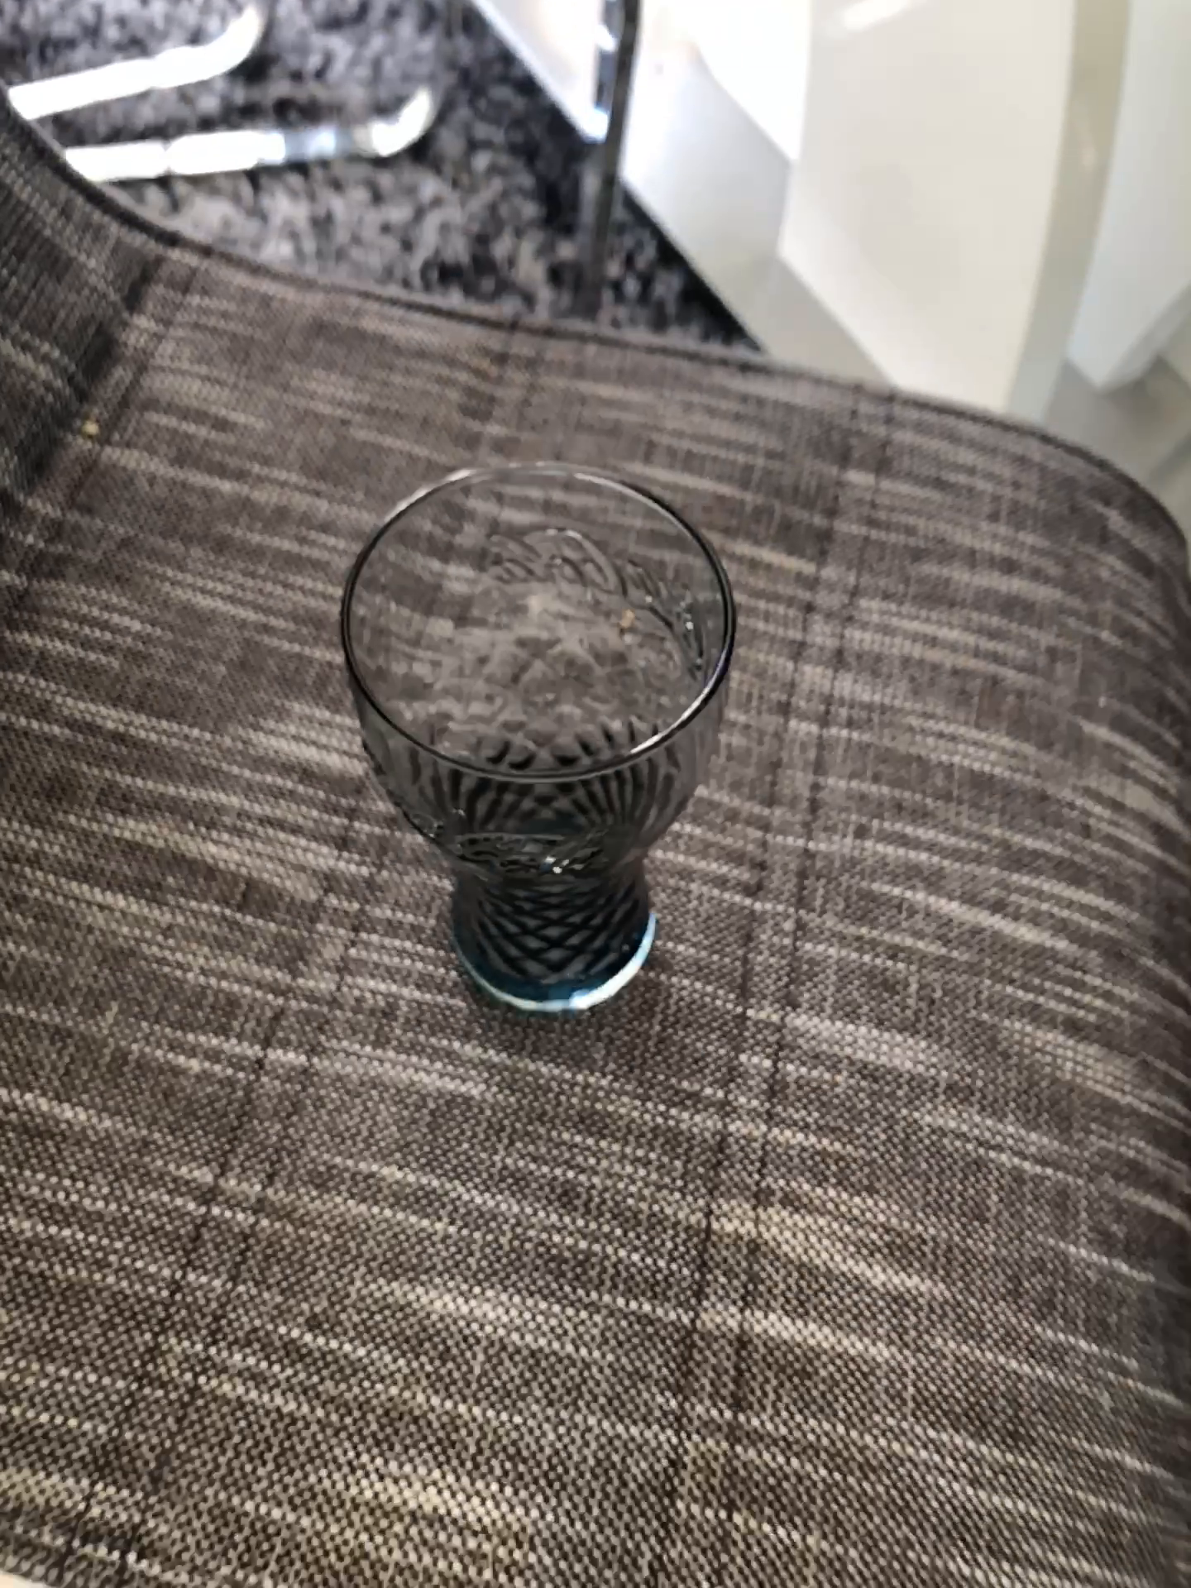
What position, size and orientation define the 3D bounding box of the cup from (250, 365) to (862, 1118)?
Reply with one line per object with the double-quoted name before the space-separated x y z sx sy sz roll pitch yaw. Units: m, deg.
"cup" -0.007 -0.004 0.305 0.080 0.139 0.080 0 58 0
